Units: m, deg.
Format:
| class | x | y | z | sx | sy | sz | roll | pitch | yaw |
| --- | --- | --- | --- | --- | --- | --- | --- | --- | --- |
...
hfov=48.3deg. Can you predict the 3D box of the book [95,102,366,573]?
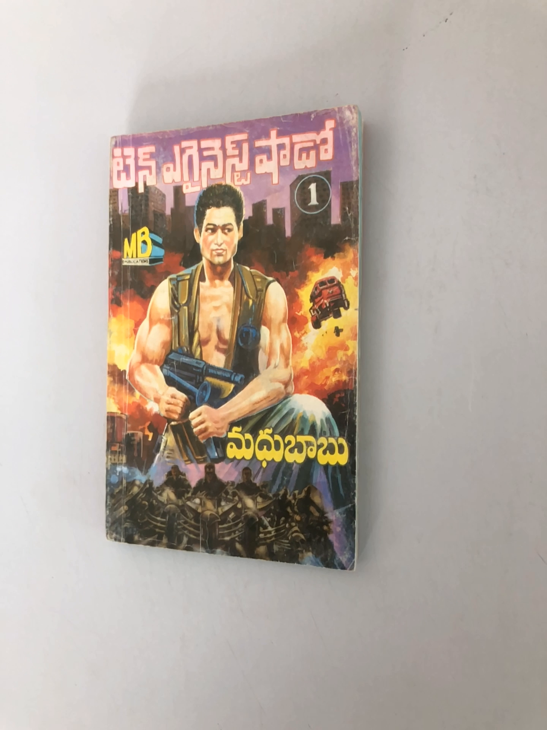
| class | x | y | z | sx | sy | sz | roll | pitch | yaw |
| --- | --- | --- | --- | --- | --- | --- | --- | --- | --- |
| book | -0.018 | -0.009 | 0.218 | 0.100 | 0.010 | 0.151 | 0 | 89 | 20 |
